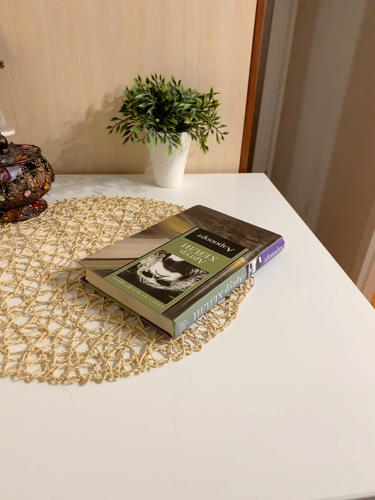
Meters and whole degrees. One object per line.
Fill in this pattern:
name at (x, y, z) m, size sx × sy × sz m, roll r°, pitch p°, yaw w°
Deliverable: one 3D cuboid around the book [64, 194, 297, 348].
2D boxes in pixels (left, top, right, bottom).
book at (0.003, 0.002, 0.439) m, size 0.151 × 0.020 × 0.231 m, roll 25°, pitch 39°, yaw 31°
